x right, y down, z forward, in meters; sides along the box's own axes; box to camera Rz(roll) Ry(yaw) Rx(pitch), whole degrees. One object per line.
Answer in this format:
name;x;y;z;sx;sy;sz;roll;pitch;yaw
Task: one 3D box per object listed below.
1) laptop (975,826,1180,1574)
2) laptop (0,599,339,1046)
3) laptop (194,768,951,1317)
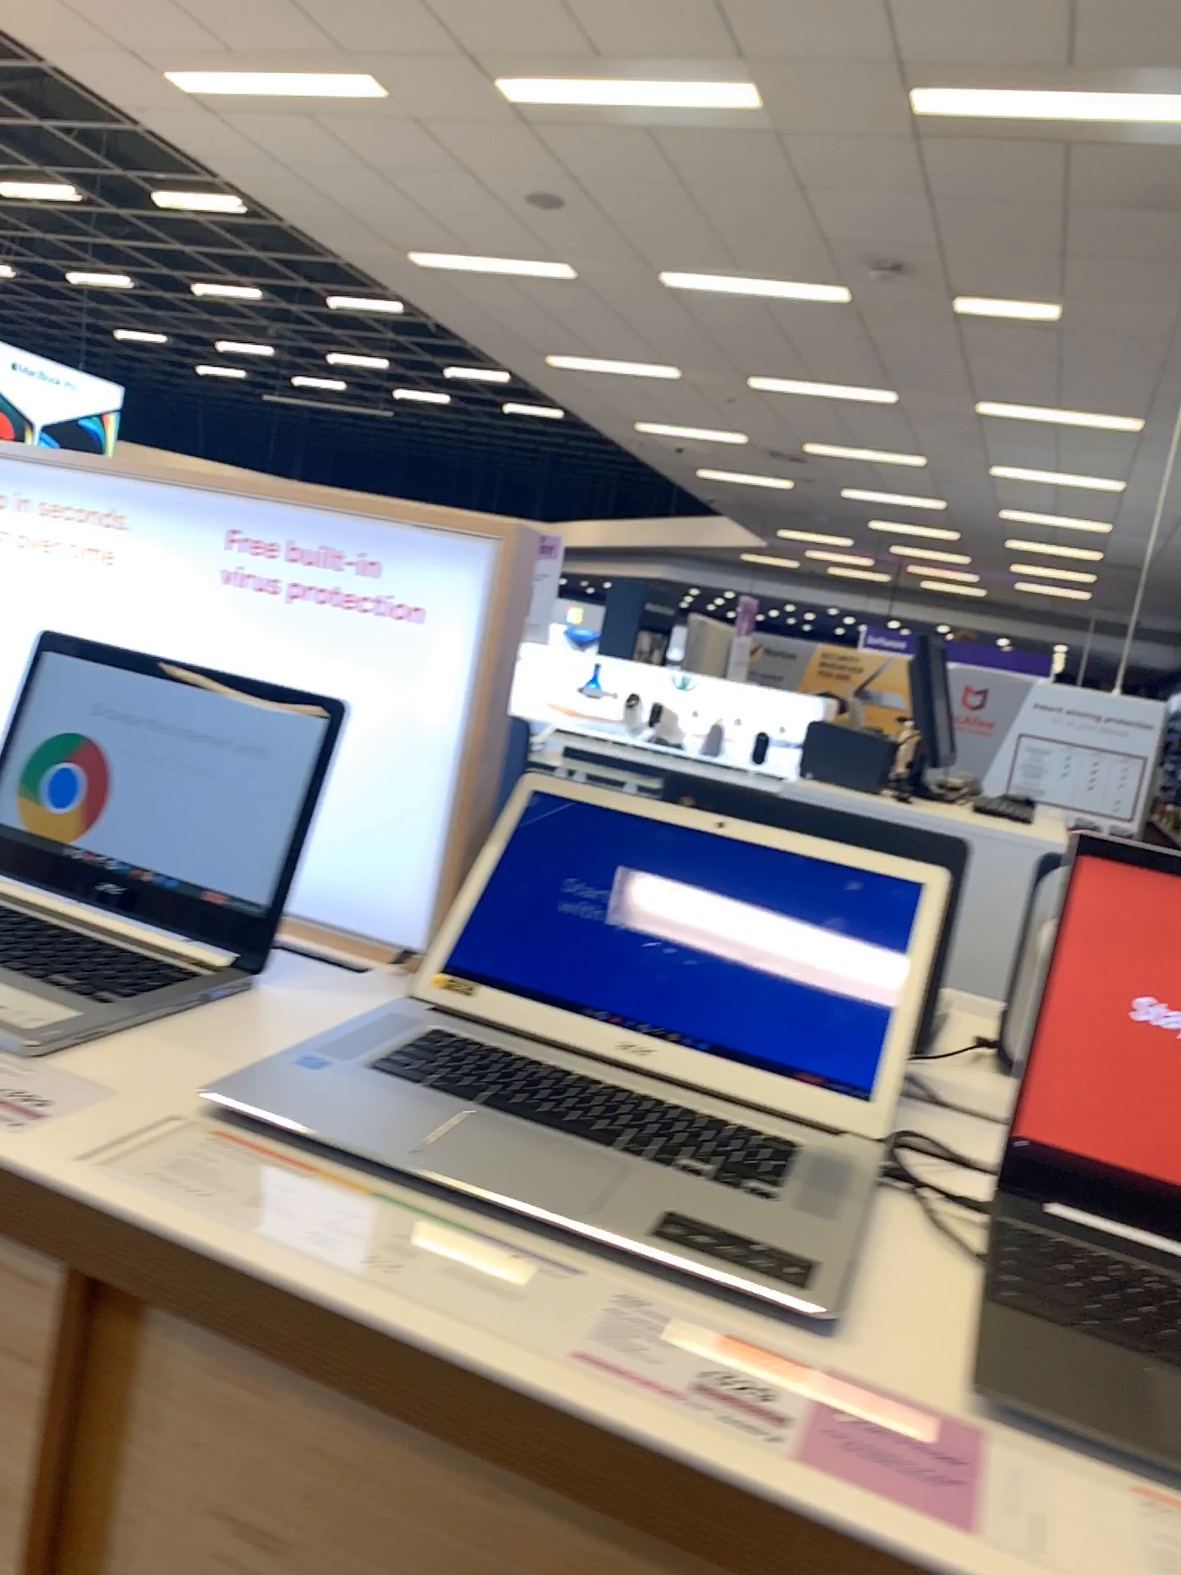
laptop;0.405;0.191;0.612;0.358;0.234;0.268;14;7;18
laptop;-0.413;0.010;0.903;0.307;0.217;0.278;14;7;18
laptop;0.031;0.121;0.844;0.376;0.175;0.426;13;7;17
